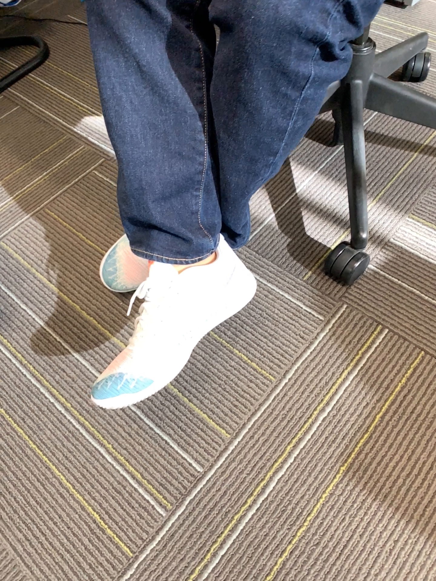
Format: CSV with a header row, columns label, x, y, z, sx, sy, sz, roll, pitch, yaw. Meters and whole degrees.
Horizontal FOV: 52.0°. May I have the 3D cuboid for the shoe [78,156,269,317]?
label,x,y,z,sx,sy,sz,roll,pitch,yaw
shoe,-0.073,-0.089,0.752,0.286,0.109,0.115,-35,89,-16

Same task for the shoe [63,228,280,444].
label,x,y,z,sx,sy,sz,roll,pitch,yaw
shoe,-0.065,0.051,0.602,0.265,0.108,0.113,-44,103,-14
